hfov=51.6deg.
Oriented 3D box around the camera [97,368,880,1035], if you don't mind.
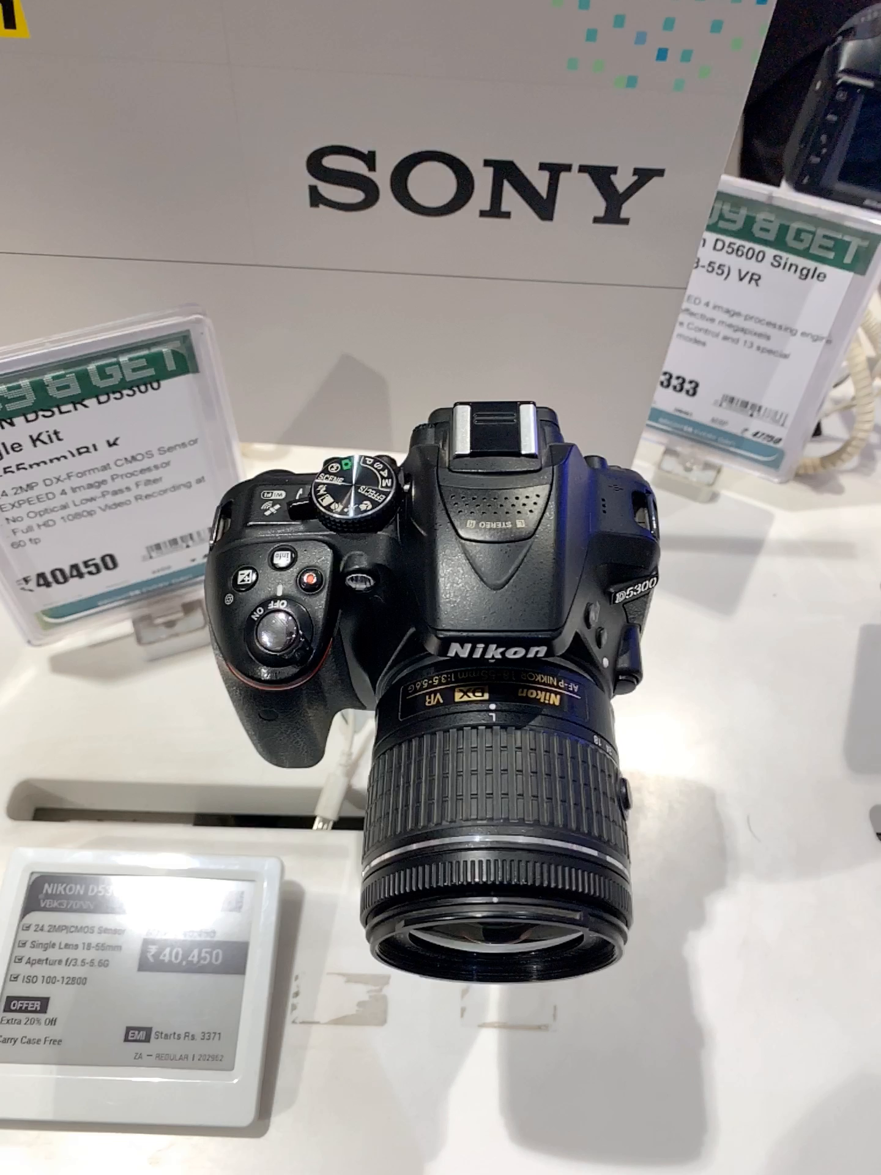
[{"bbox_3d":[0.010,0.020,0.207,0.130,0.070,0.130,-1,51,-3],"label":"camera"}]
